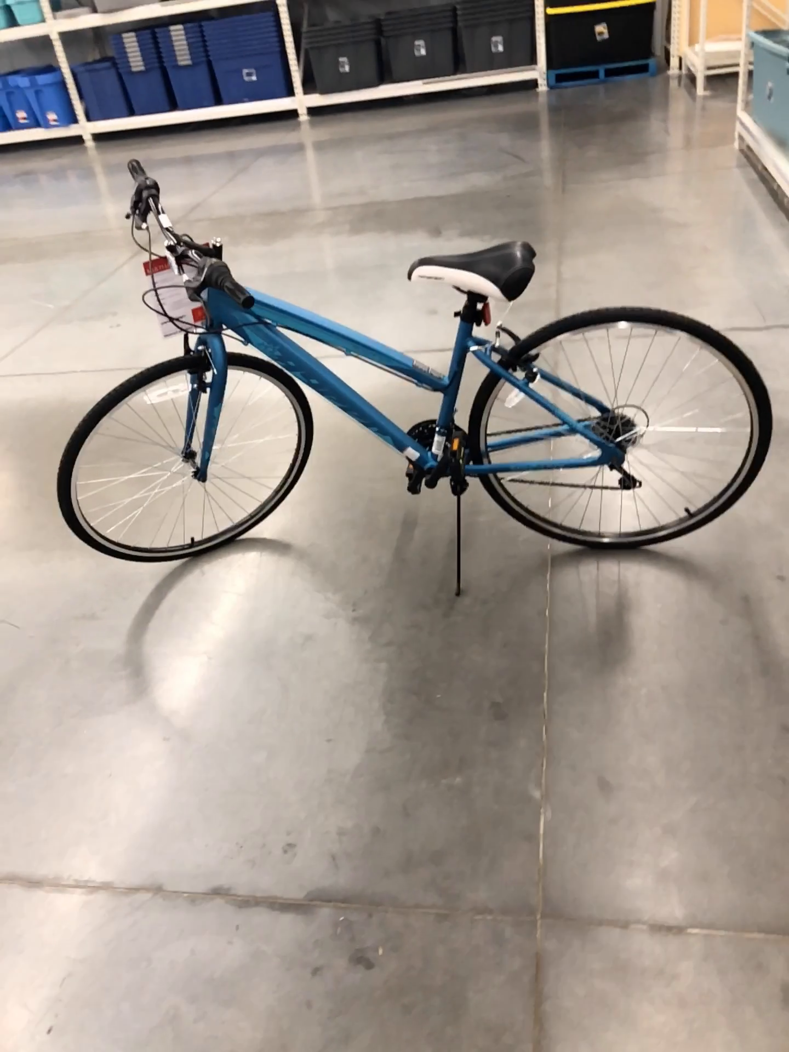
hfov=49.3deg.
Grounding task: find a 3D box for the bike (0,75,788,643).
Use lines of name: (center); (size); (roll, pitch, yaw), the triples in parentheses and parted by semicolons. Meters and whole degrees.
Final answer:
bike: (-0.016, -0.338, 1.934); (1.604, 0.978, 0.581); (-4, 34, 6)
